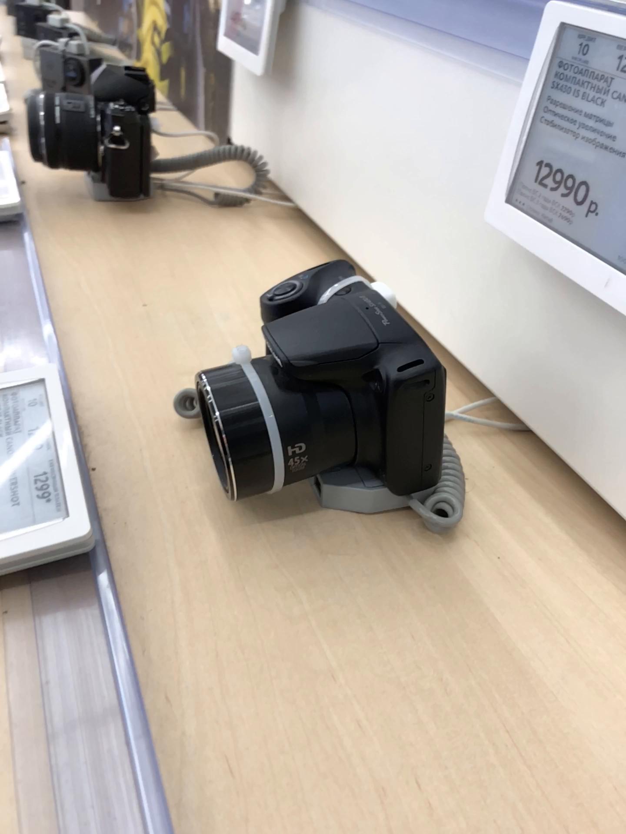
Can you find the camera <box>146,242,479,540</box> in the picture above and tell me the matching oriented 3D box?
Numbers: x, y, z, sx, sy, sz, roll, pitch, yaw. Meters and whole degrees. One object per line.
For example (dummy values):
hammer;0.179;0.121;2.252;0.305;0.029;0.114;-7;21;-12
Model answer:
camera;-0.010;-0.021;0.294;0.093;0.062;0.117;-9;38;-25
